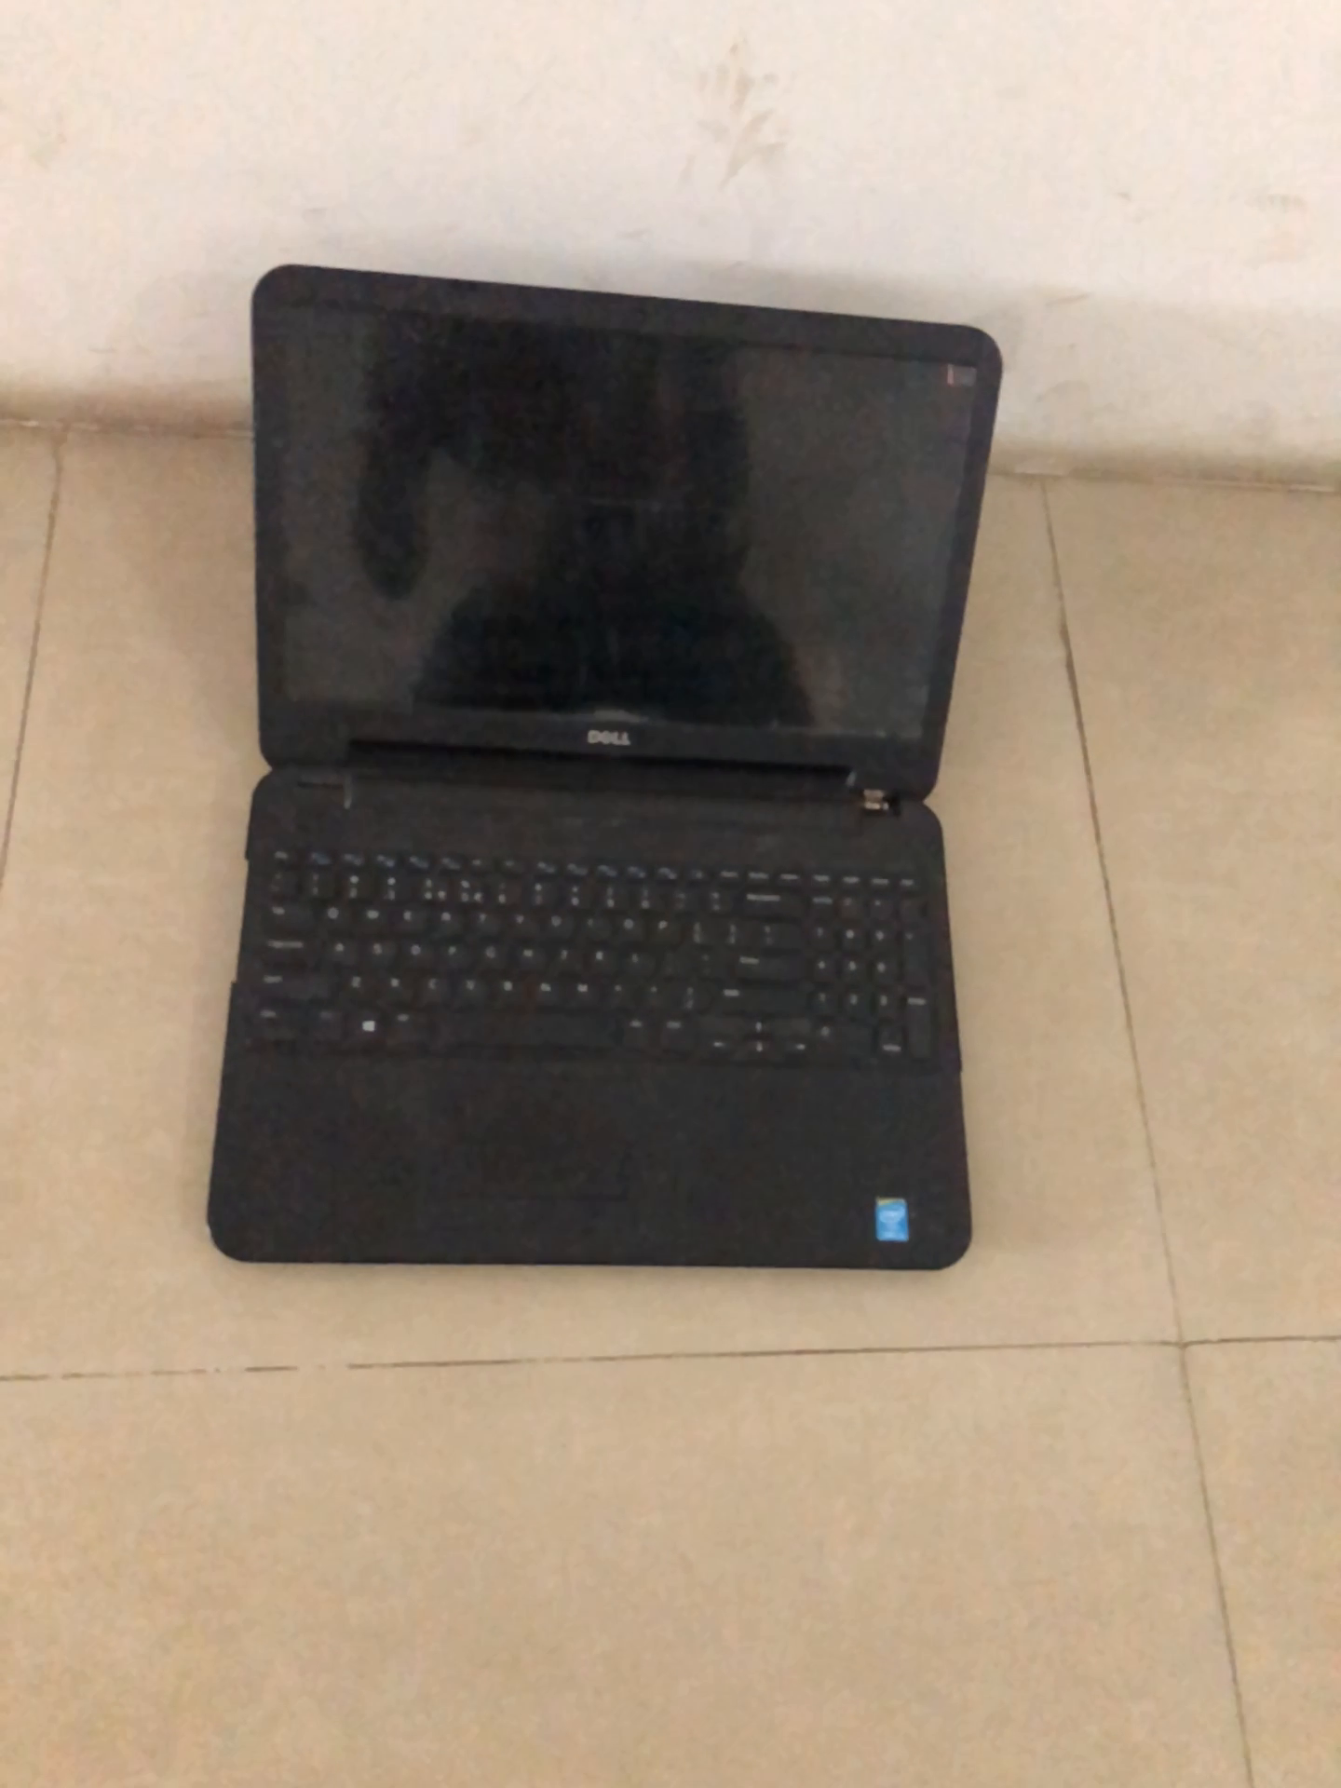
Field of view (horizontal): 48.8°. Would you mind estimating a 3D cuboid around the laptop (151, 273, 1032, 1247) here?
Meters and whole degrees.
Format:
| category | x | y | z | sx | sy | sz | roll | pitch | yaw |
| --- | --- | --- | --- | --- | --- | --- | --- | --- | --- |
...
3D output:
| category | x | y | z | sx | sy | sz | roll | pitch | yaw |
| --- | --- | --- | --- | --- | --- | --- | --- | --- | --- |
| laptop | -0.039 | -0.056 | 0.692 | 0.322 | 0.166 | 0.409 | 1 | 67 | -8 |
